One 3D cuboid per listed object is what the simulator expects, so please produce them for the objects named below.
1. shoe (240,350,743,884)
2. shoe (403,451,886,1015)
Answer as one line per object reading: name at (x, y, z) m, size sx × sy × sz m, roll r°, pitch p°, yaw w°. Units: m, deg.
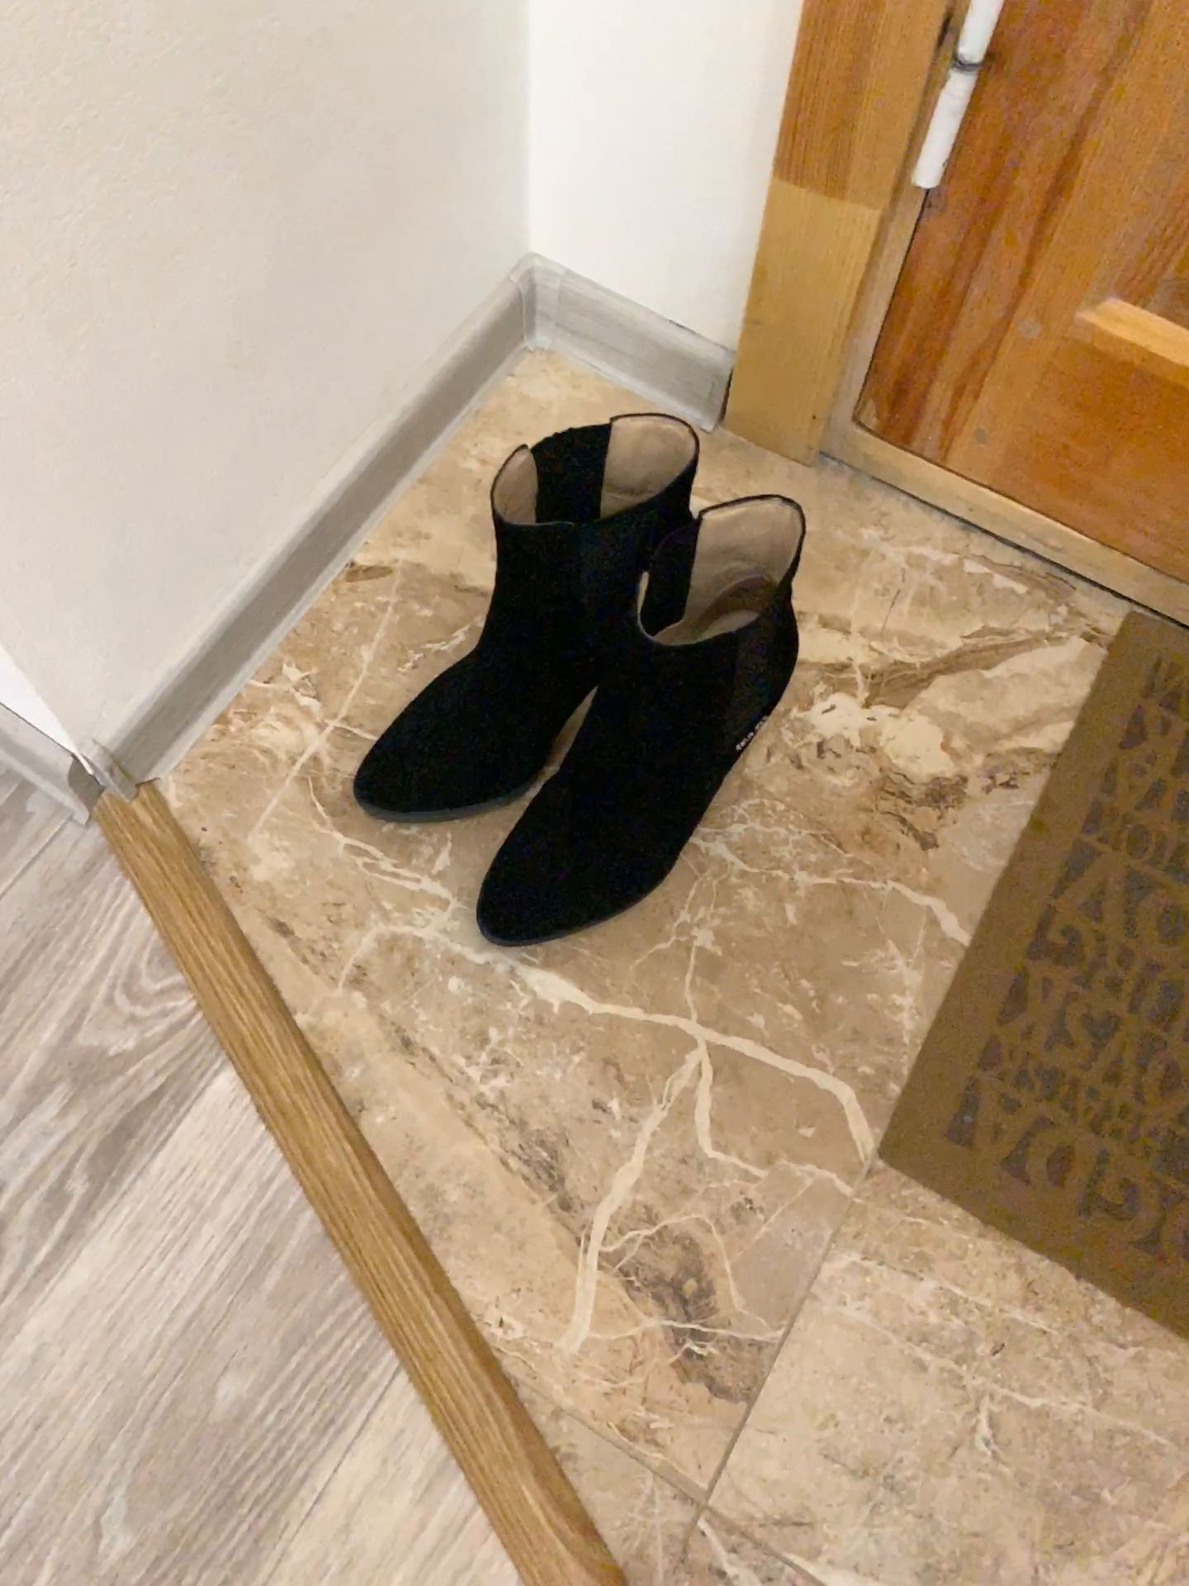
shoe at (-0.047, -0.082, 0.634) m, size 0.214 × 0.199 × 0.086 m, roll -35°, pitch 70°, yaw -18°
shoe at (0.022, -0.021, 0.613) m, size 0.086 × 0.199 × 0.215 m, roll 41°, pitch 69°, yaw 16°
